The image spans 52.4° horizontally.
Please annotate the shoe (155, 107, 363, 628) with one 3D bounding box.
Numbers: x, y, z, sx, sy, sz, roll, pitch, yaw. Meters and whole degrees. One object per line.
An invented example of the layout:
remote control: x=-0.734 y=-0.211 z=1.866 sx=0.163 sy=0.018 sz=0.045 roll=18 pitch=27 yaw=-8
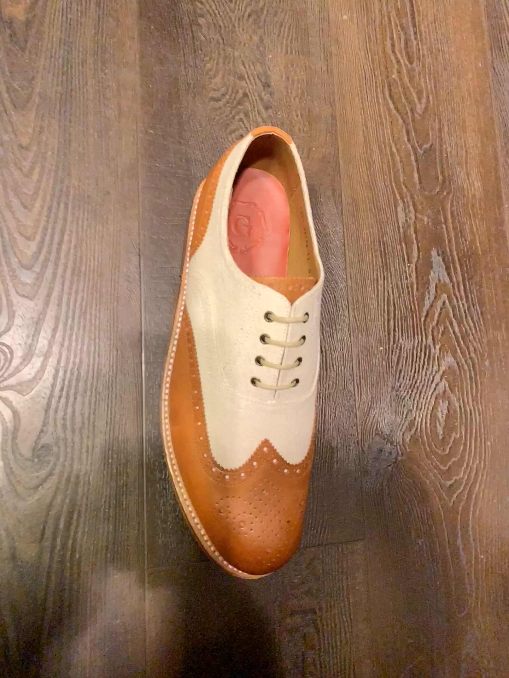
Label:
shoe: x=-0.006 y=0.015 z=0.370 sx=0.110 sy=0.120 sz=0.300 roll=2 pitch=81 yaw=-17
